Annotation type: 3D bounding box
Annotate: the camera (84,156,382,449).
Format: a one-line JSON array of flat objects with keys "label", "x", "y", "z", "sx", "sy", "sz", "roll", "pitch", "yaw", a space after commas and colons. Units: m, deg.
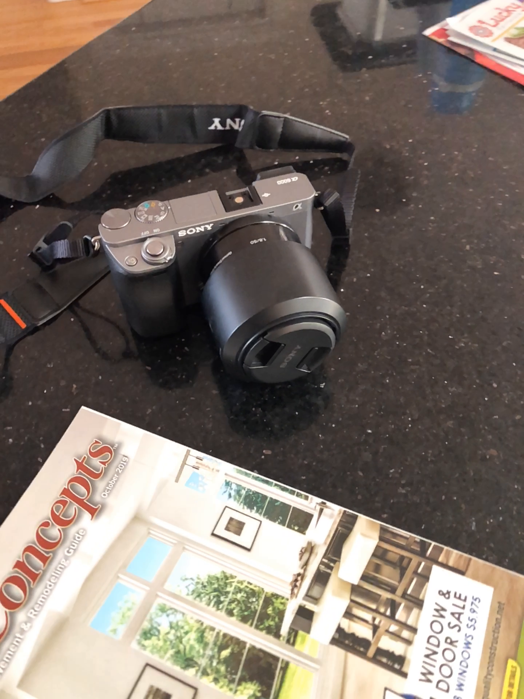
[{"label": "camera", "x": -0.019, "y": -0.026, "z": 0.330, "sx": 0.127, "sy": 0.100, "sz": 0.100, "roll": -15, "pitch": 57, "yaw": -9}]
